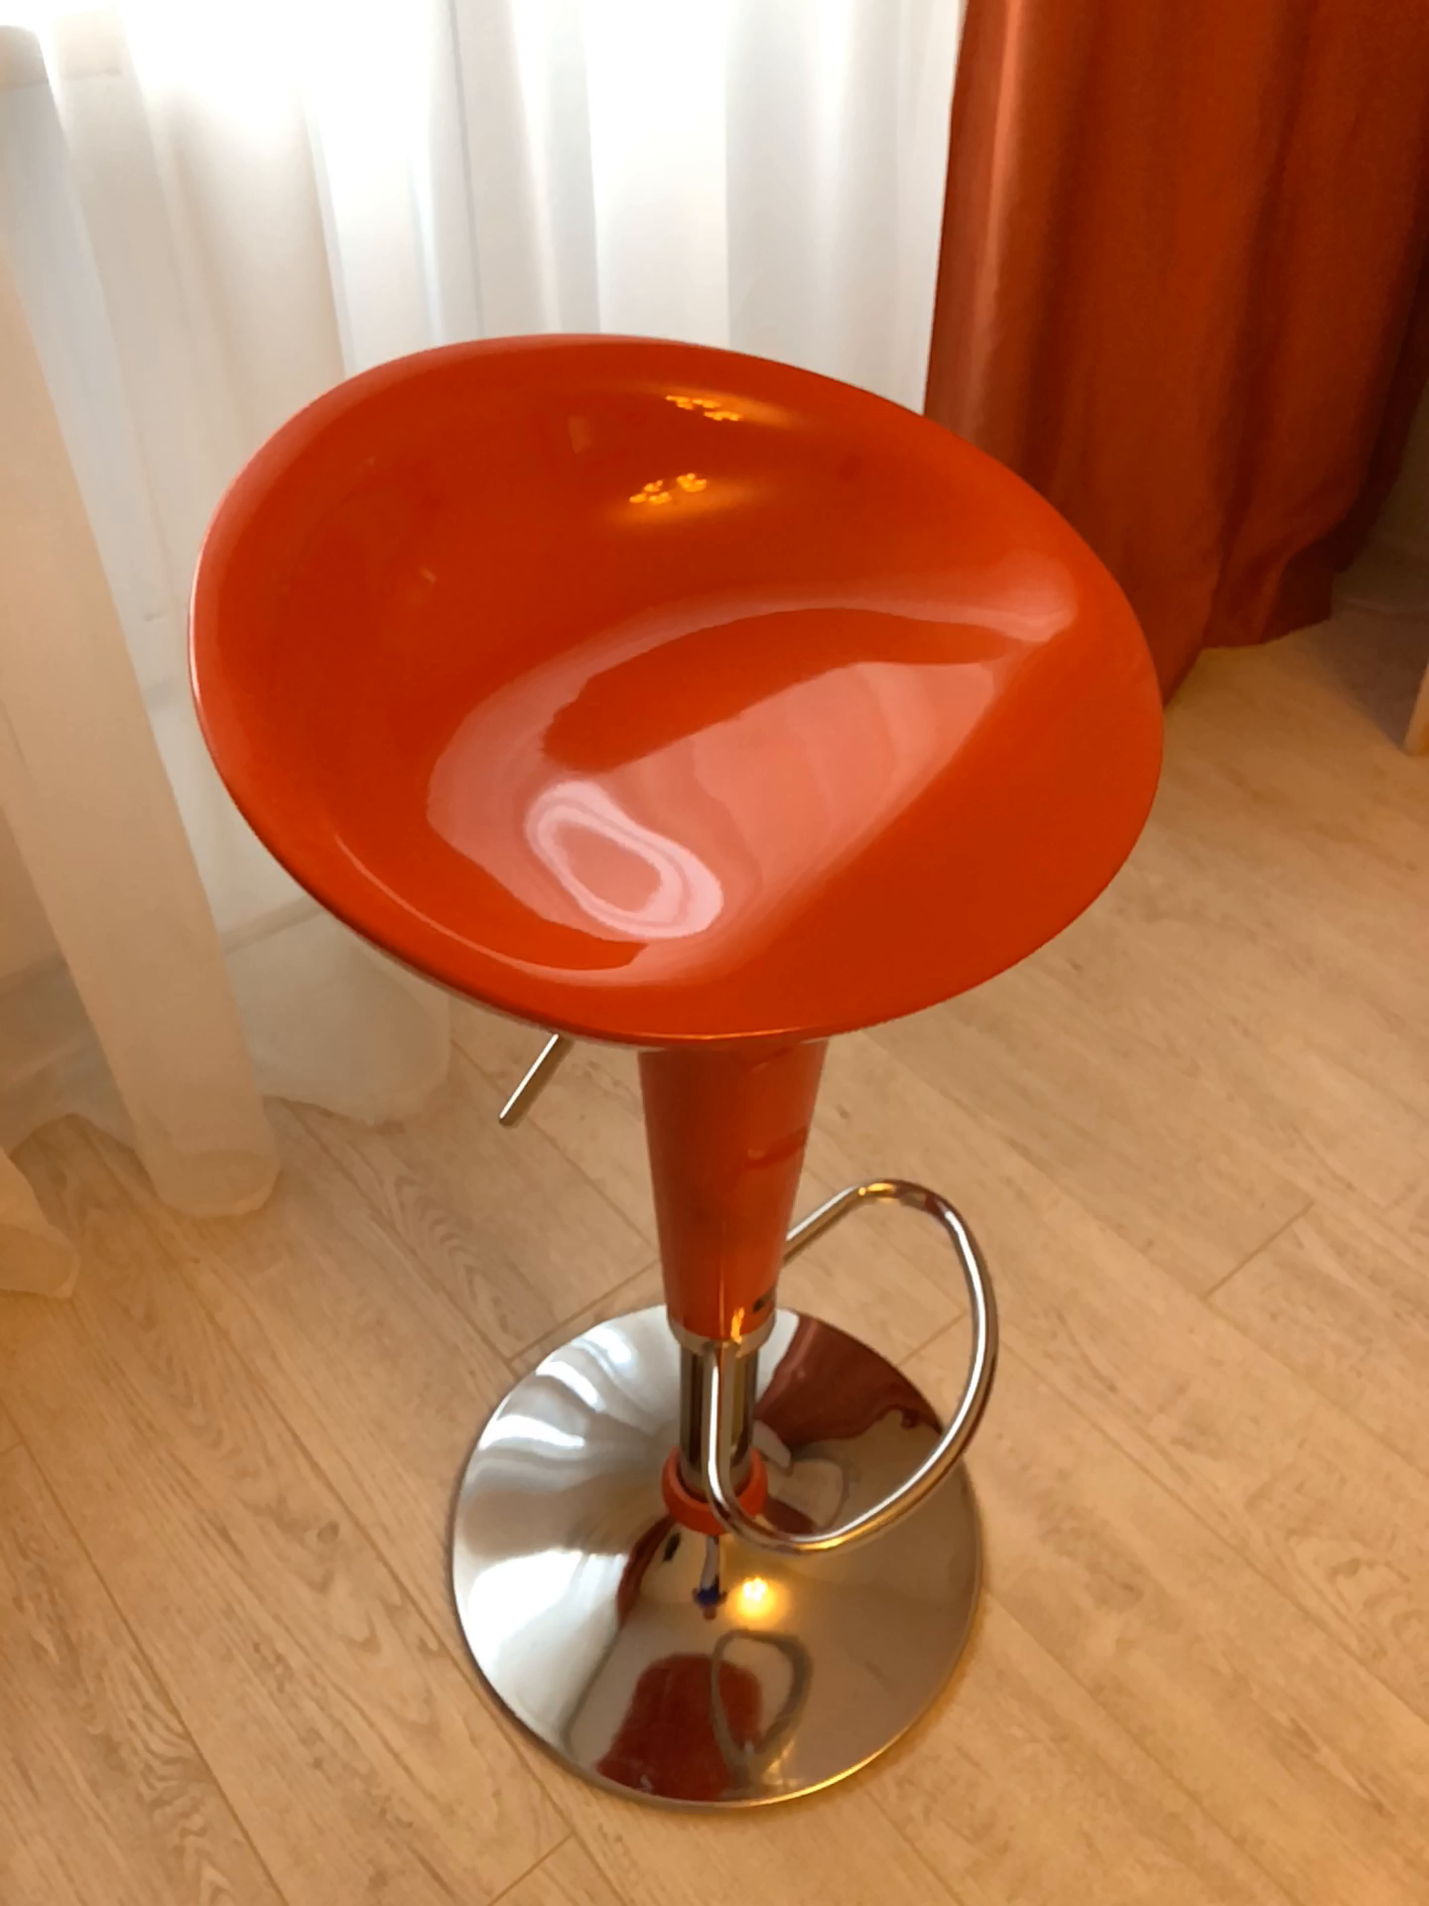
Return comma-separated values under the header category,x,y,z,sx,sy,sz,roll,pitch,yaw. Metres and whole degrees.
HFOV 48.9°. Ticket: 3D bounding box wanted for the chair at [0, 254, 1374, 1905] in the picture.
category,x,y,z,sx,sy,sz,roll,pitch,yaw
chair,0.015,0.101,0.821,0.420,0.725,0.413,12,43,12
